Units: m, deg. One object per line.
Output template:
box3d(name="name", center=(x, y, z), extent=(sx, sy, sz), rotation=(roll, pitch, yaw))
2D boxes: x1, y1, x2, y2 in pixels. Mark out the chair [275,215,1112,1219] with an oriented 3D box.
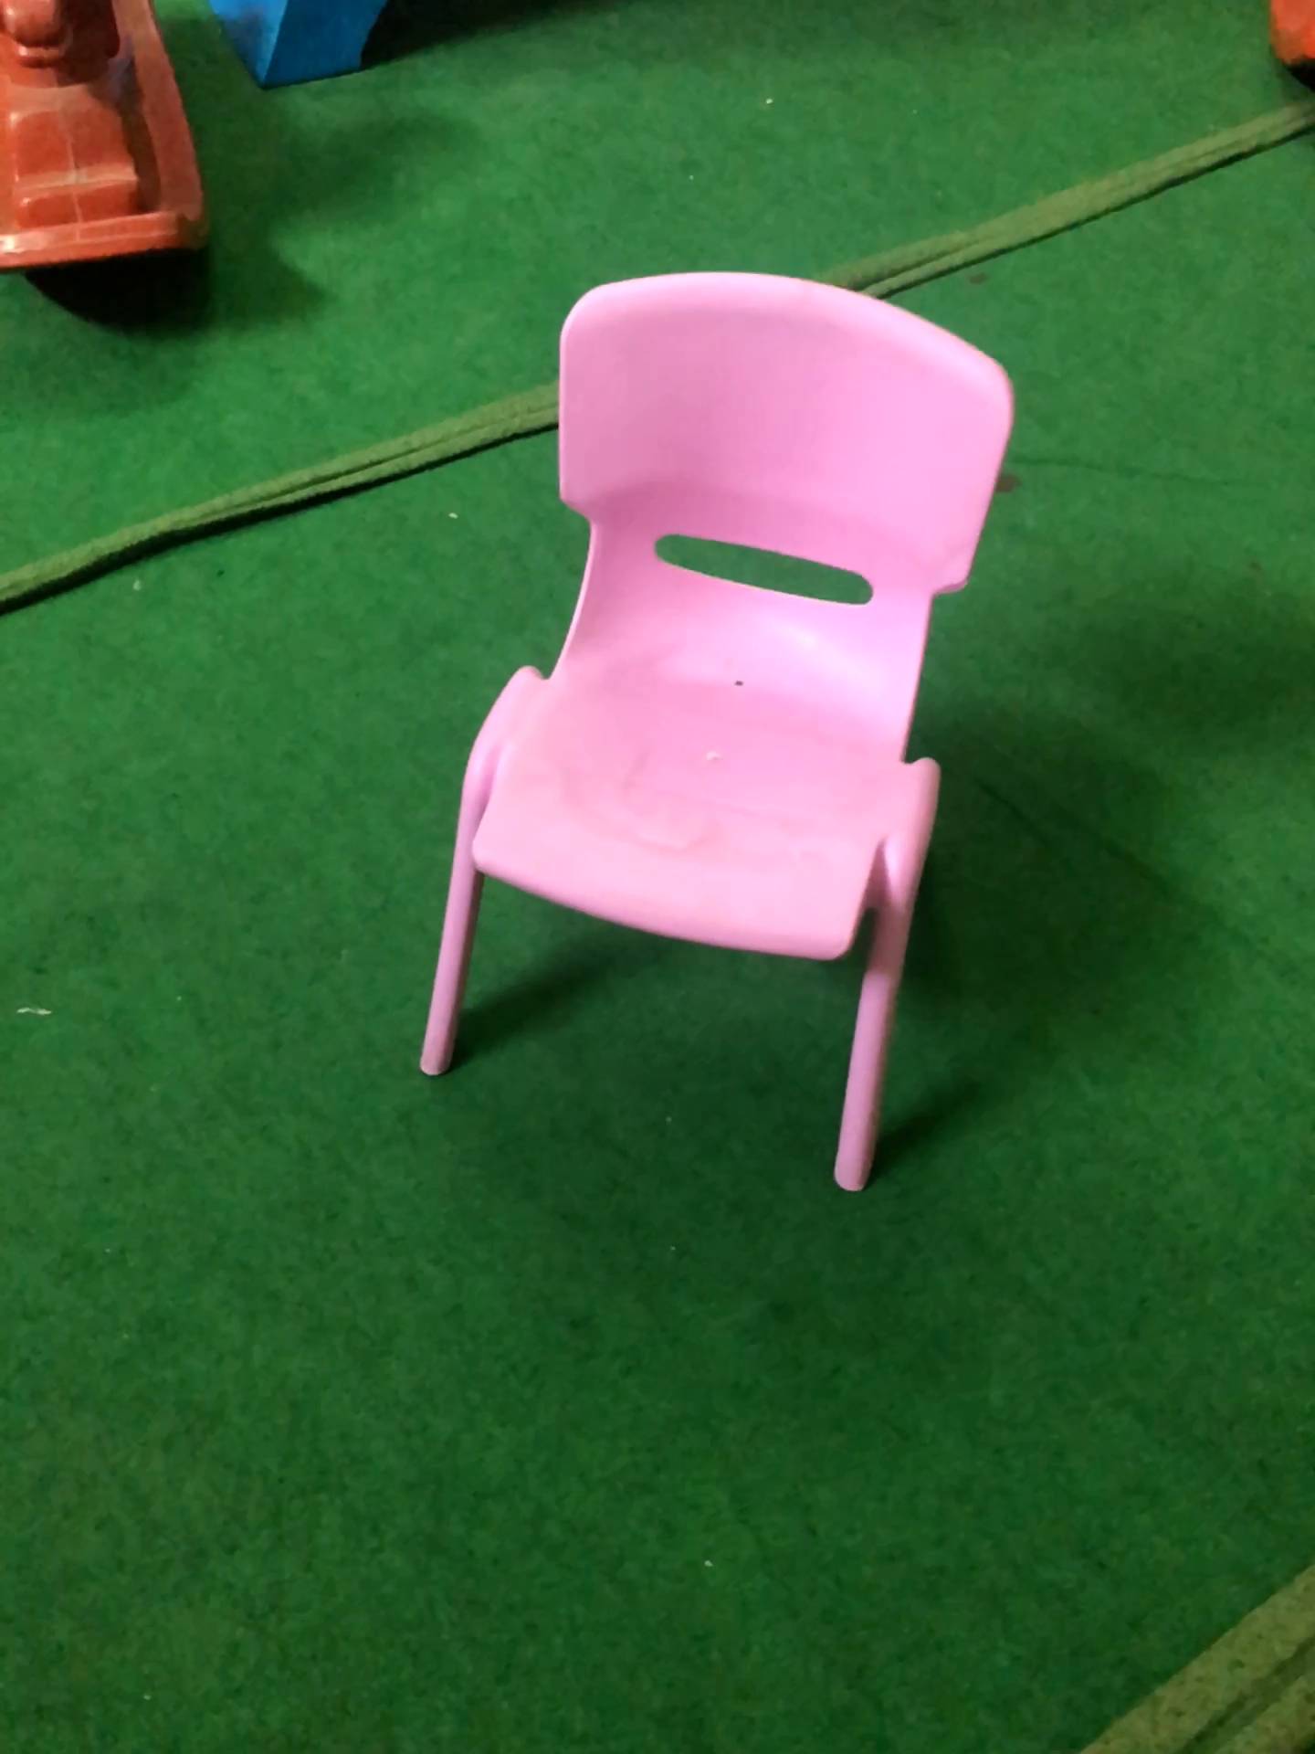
box3d(name="chair", center=(0.040, -0.096, 0.973), extent=(0.380, 0.449, 0.411), rotation=(12, 53, 6))
